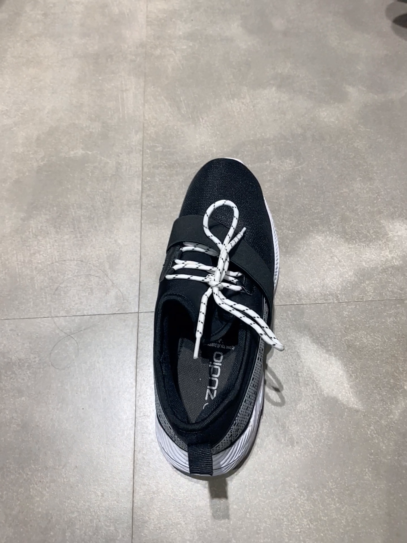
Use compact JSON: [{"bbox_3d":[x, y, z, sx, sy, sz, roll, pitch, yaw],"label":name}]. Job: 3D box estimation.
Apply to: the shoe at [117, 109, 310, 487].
[{"bbox_3d":[0.023,0.017,0.379,0.116,0.132,0.304,5,63,4],"label":"shoe"}]
